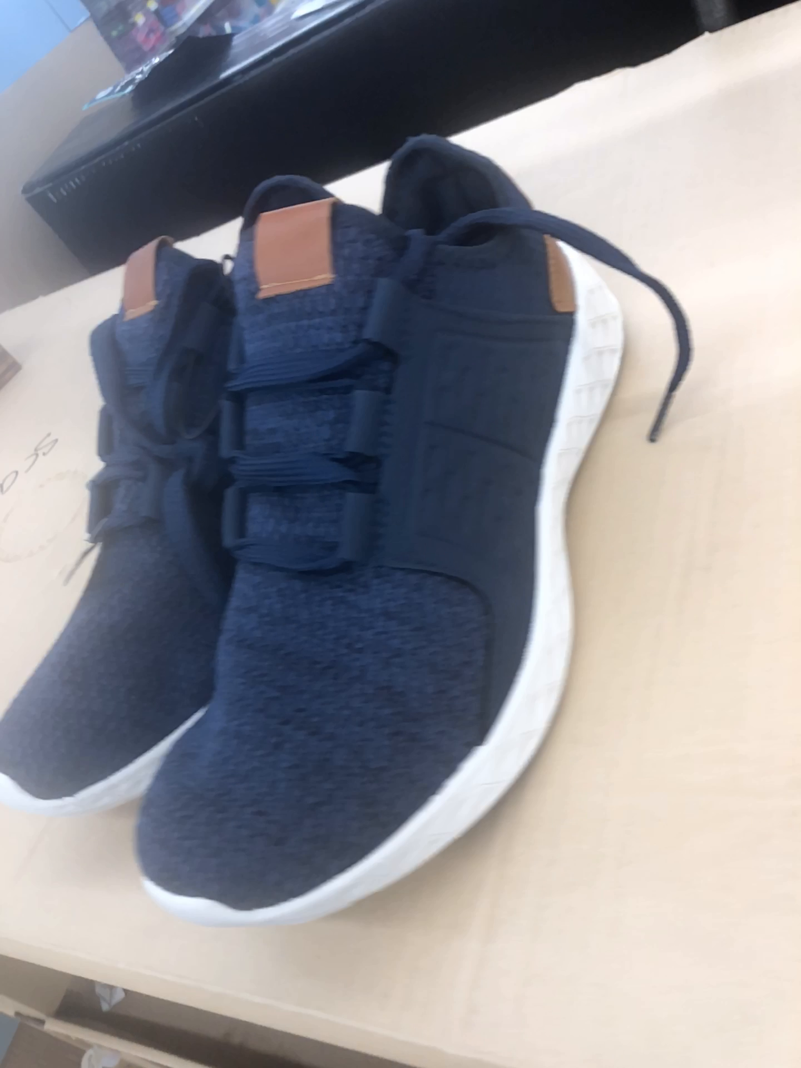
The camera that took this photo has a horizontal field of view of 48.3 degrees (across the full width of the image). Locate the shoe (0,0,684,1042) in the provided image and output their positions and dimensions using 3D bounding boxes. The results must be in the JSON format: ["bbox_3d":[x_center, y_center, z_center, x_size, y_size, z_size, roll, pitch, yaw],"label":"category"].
[{"bbox_3d":[-0.007,-0.029,0.283,0.110,0.119,0.290,-3,47,35],"label":"shoe"}]

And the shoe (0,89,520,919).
[{"bbox_3d":[-0.078,-0.028,0.361,0.111,0.129,0.290,3,52,40],"label":"shoe"}]
